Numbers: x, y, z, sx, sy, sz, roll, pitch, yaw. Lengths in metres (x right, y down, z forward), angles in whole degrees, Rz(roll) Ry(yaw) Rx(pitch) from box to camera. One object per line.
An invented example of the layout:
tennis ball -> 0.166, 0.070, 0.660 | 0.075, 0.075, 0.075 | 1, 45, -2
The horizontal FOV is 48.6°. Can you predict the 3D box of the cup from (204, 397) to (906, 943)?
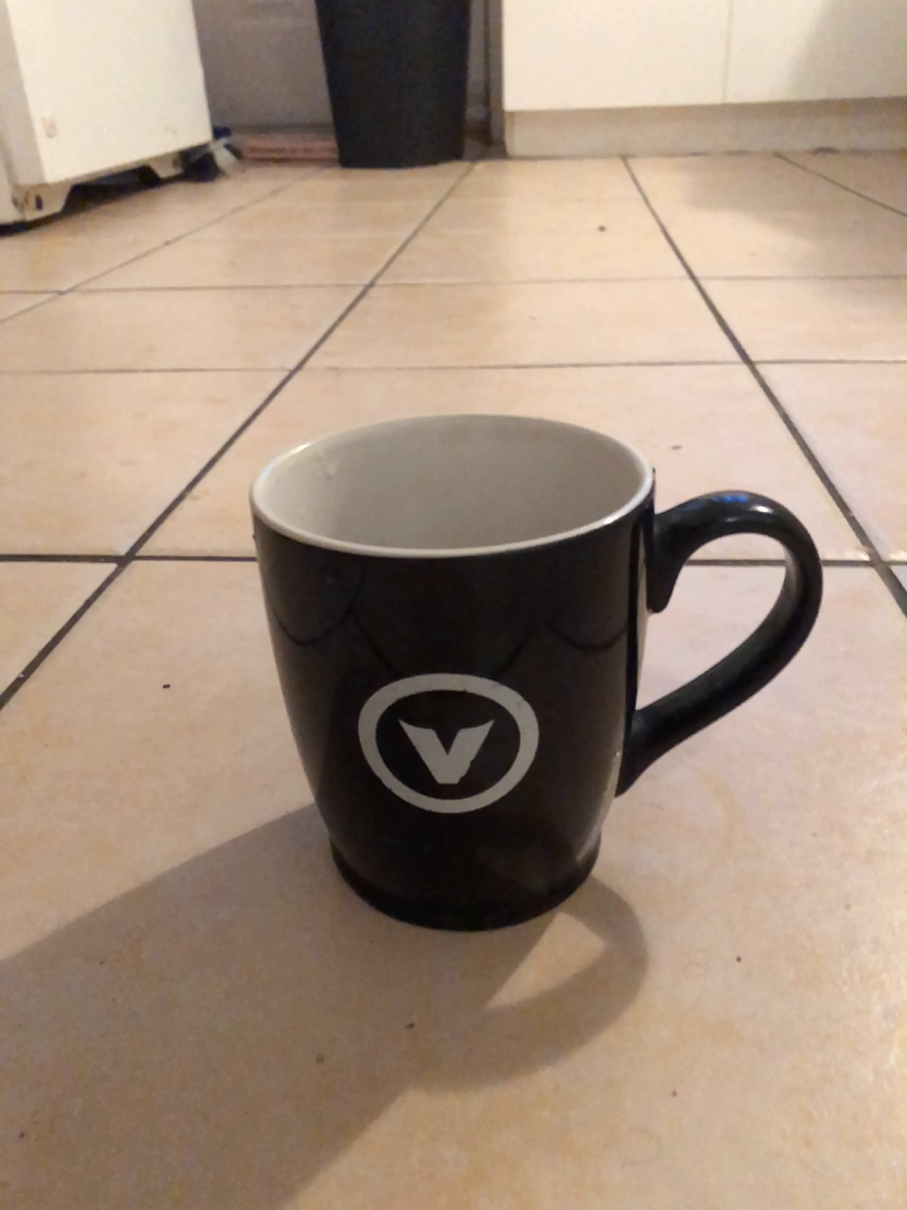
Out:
cup -> 0.023, 0.011, 0.261 | 0.140, 0.100, 0.101 | -1, 27, 1
